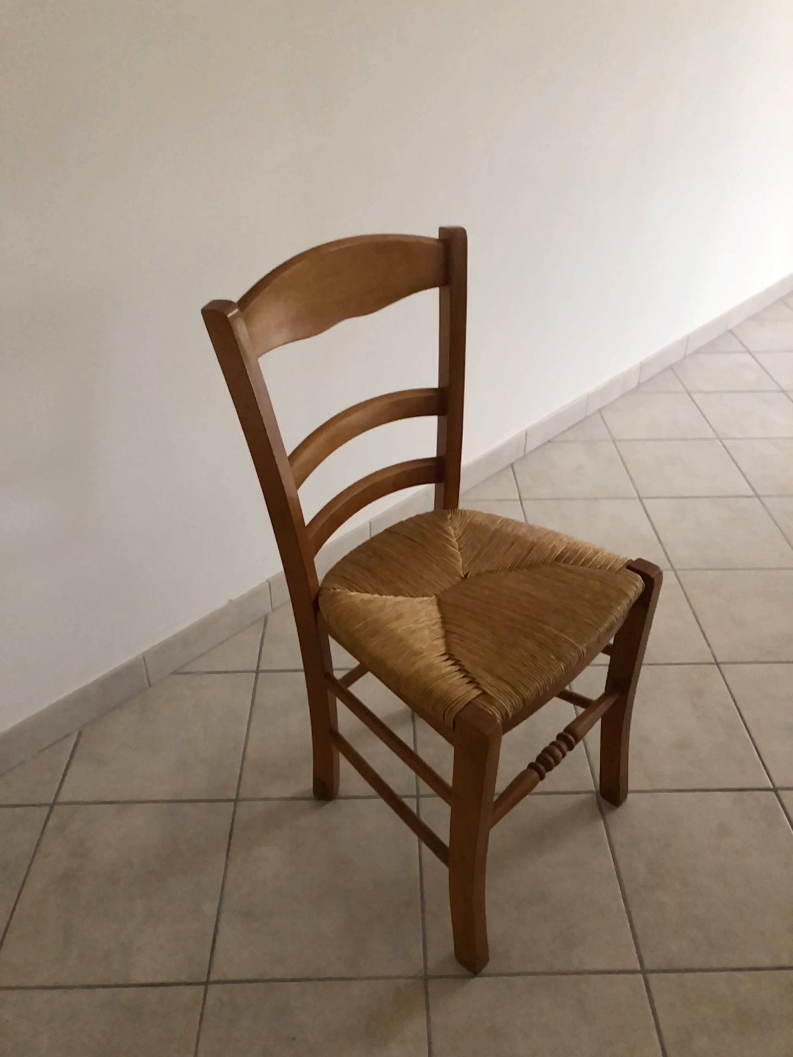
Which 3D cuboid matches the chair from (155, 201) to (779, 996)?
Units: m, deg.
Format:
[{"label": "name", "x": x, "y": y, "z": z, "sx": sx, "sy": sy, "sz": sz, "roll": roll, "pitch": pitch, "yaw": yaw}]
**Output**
[{"label": "chair", "x": 0.077, "y": 0.073, "z": 1.167, "sx": 0.500, "sy": 0.825, "sz": 0.452, "roll": 27, "pitch": 43, "yaw": 34}]
